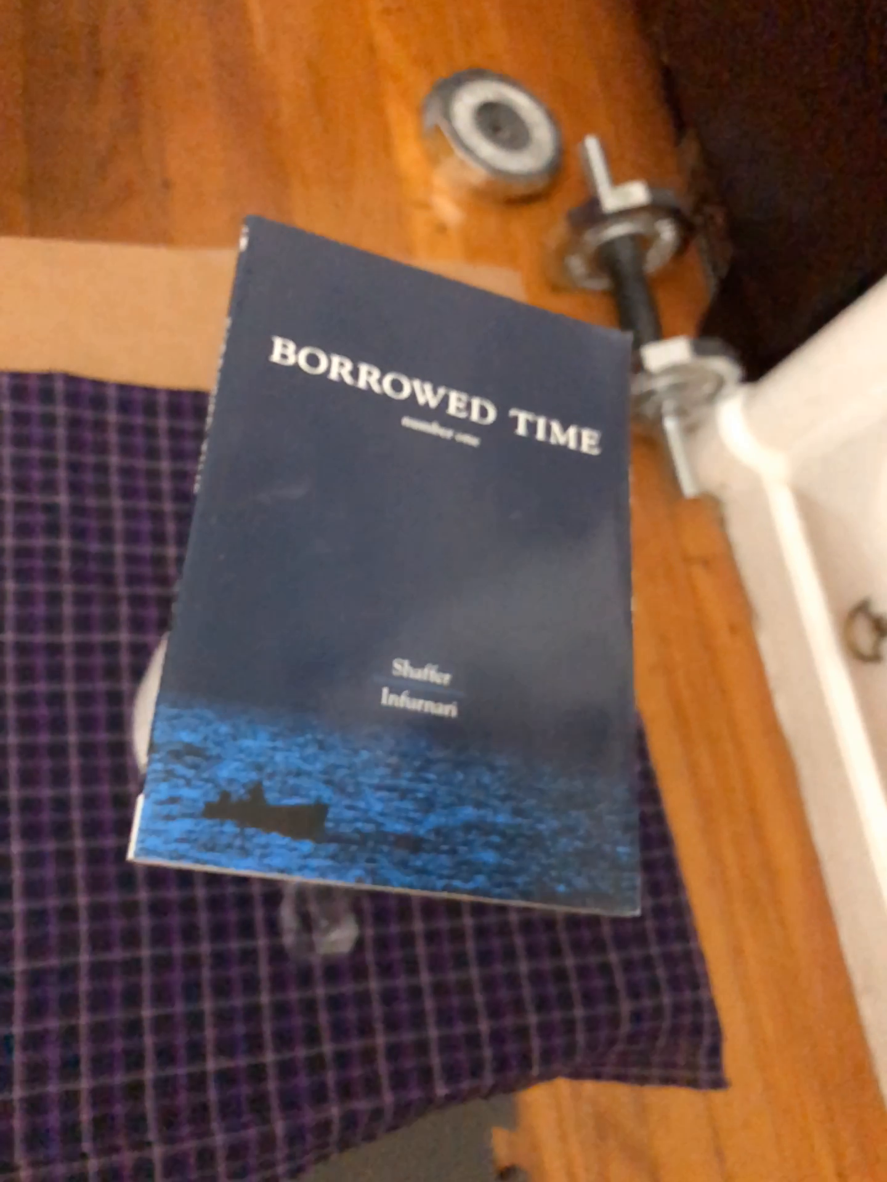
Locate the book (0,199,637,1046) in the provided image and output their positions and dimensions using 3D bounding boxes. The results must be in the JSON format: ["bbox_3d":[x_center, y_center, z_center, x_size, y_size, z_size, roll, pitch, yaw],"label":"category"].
[{"bbox_3d":[-0.017,0.000,0.292,0.160,0.010,0.231,14,62,-18],"label":"book"}]
